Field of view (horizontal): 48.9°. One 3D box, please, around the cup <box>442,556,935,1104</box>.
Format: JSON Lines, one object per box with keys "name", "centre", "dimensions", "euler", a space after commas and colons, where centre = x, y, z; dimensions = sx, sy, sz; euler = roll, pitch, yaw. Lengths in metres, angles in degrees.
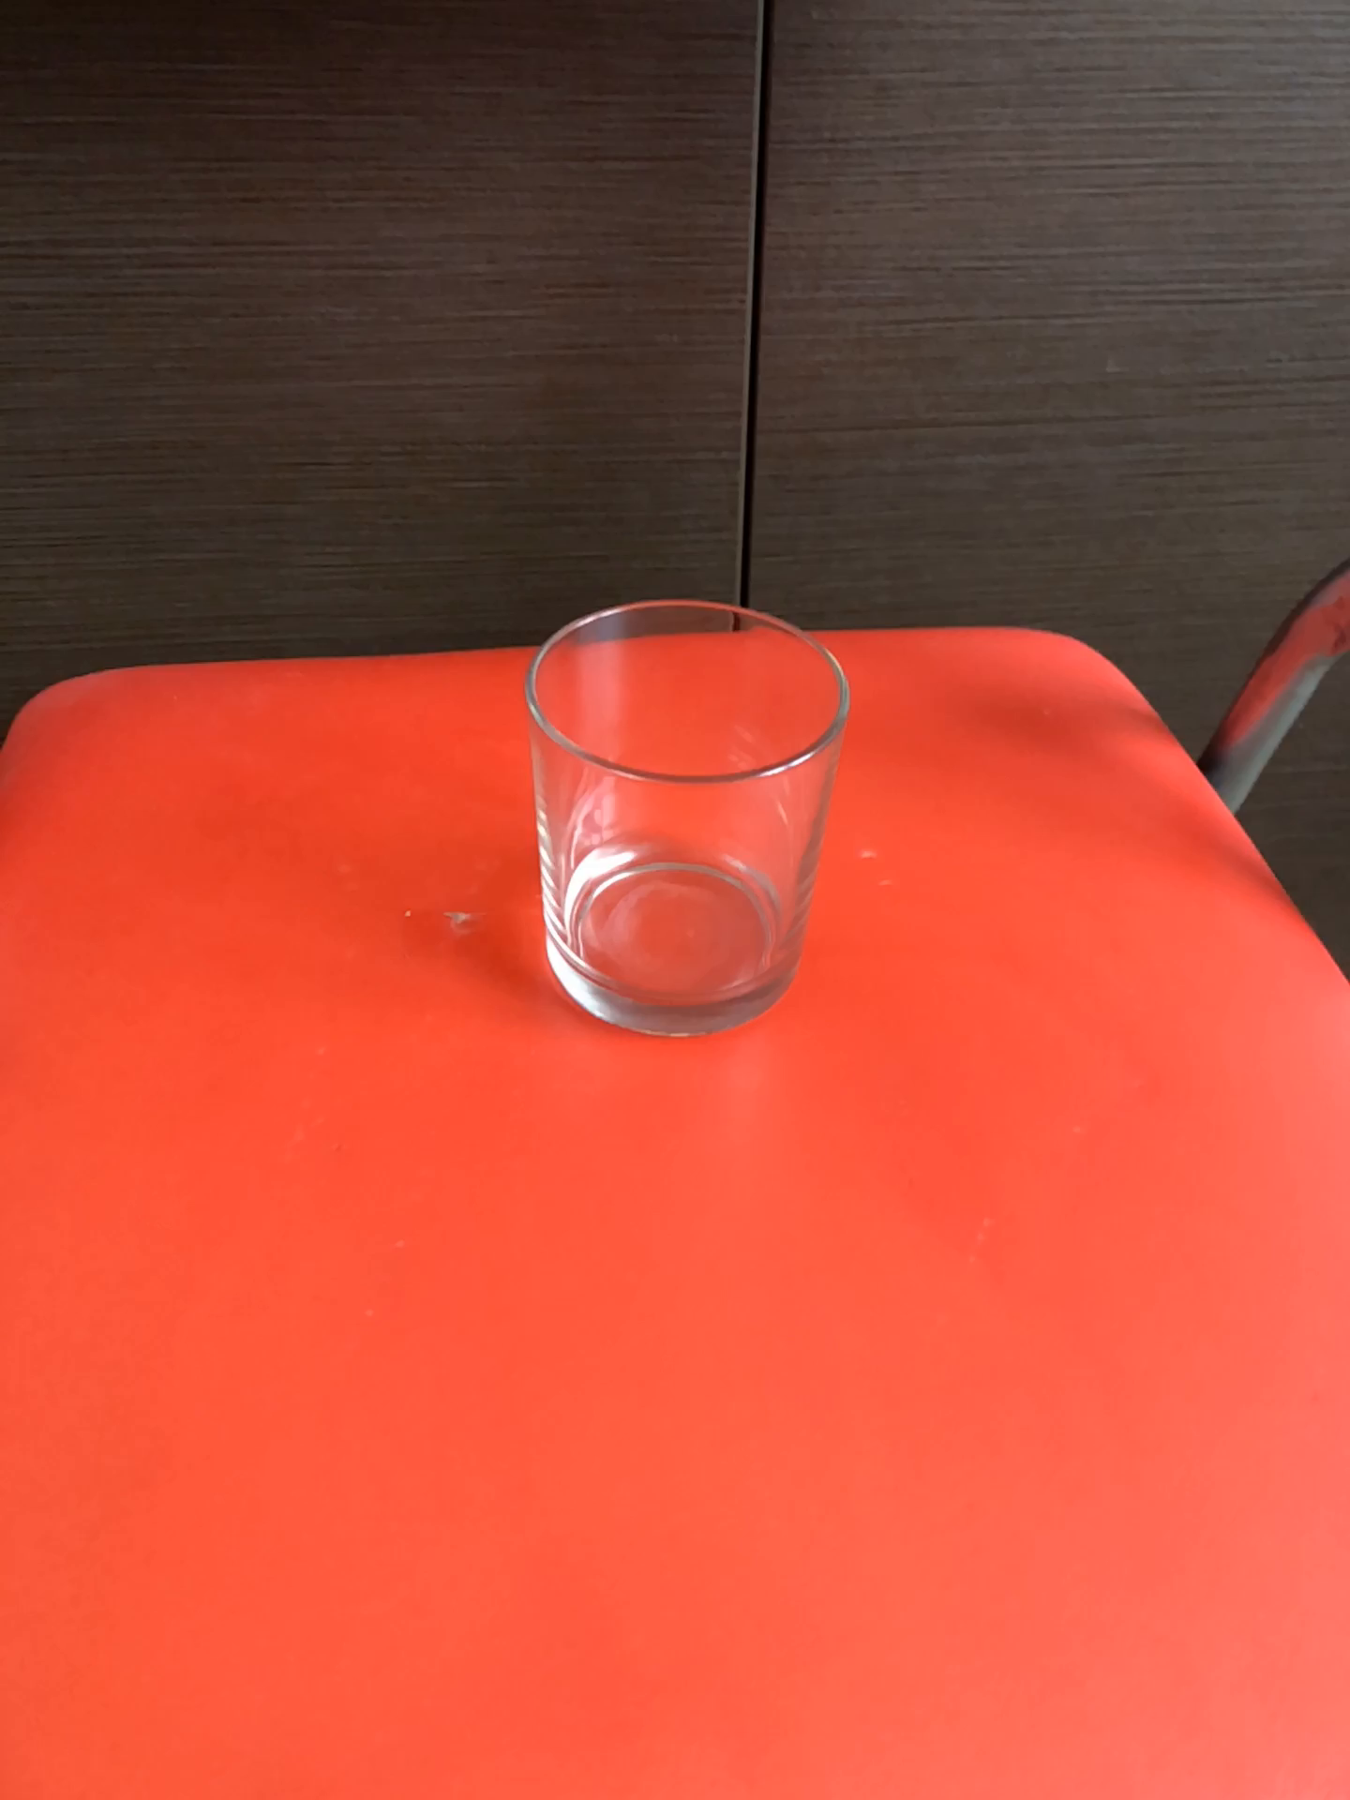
{"name": "cup", "centre": [0.002, -0.020, 0.360], "dimensions": [0.080, 0.082, 0.078], "euler": [2, 40, -1]}
